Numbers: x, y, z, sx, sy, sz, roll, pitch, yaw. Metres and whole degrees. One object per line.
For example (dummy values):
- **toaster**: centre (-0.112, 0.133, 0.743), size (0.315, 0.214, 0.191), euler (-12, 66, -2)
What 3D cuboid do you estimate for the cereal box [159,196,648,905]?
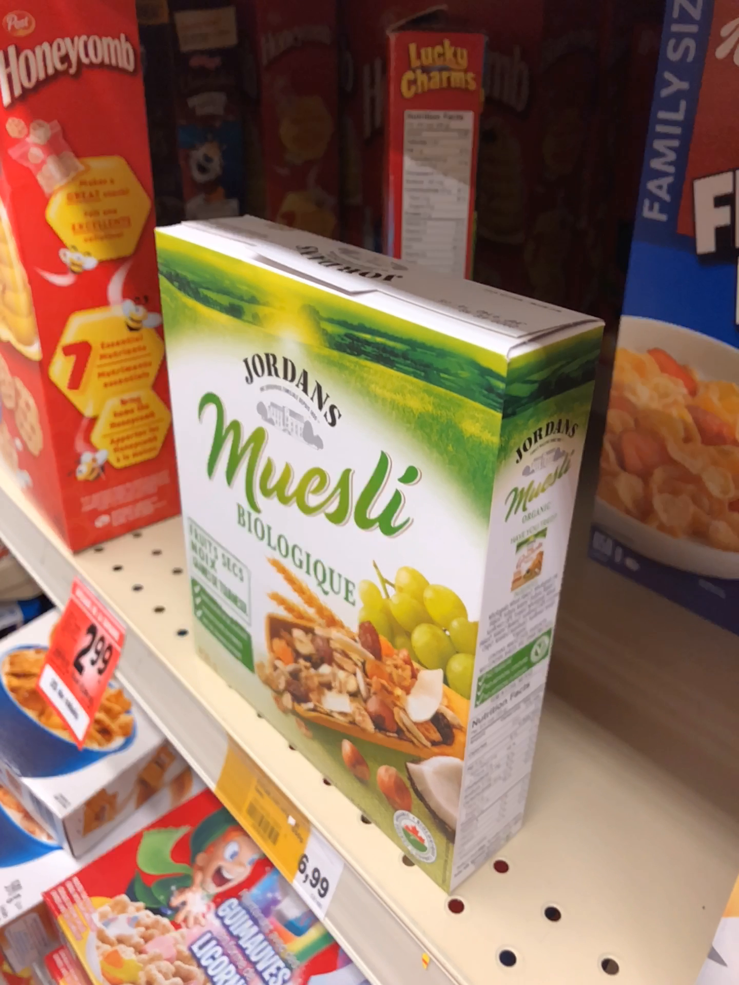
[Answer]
- **cereal box**: centre (-0.004, 0.015, 0.324), size (0.050, 0.218, 0.181), euler (-23, 38, -35)
